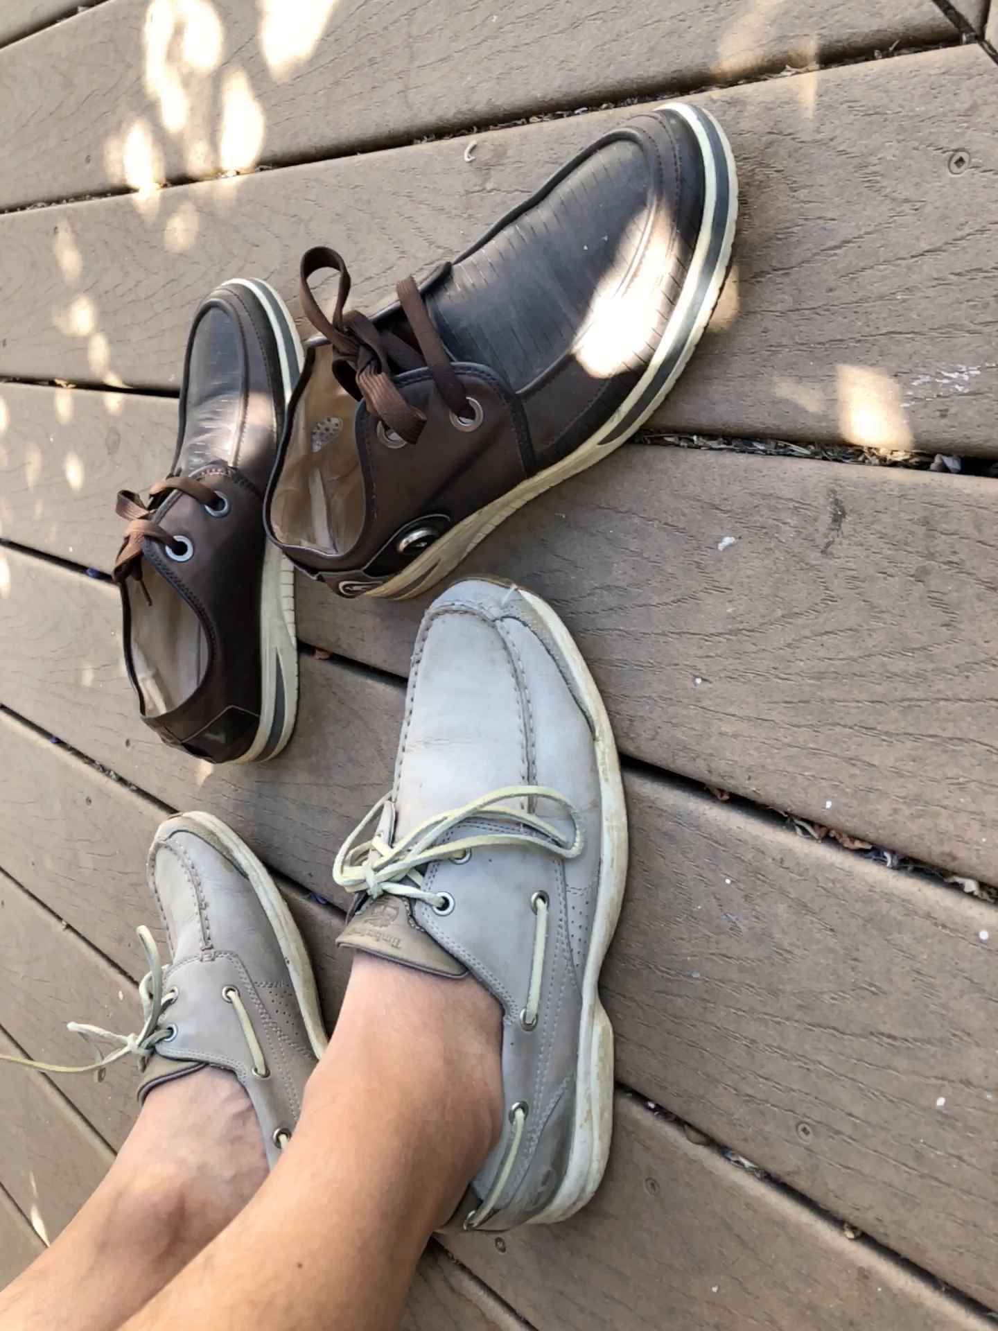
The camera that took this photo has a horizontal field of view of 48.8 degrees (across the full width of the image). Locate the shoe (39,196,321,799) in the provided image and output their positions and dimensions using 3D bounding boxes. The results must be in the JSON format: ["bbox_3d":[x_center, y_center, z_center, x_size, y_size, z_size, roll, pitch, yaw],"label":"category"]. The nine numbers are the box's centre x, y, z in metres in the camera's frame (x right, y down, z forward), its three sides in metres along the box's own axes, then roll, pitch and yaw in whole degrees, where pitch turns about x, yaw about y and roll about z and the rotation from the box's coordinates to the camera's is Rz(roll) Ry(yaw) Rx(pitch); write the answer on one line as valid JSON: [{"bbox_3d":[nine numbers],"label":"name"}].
[{"bbox_3d":[-0.185,-0.087,0.634,0.111,0.111,0.303,5,95,44],"label":"shoe"}]

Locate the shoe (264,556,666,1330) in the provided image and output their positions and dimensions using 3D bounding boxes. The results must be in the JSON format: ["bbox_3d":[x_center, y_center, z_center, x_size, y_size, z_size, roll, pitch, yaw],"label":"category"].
[{"bbox_3d":[-0.016,0.114,0.478,0.111,0.111,0.303,-6,87,44],"label":"shoe"}]

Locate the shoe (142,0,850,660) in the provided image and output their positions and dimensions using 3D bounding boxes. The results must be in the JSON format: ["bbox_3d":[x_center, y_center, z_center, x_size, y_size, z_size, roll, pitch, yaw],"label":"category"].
[{"bbox_3d":[-0.025,-0.125,0.473,0.304,0.111,0.110,-38,65,38],"label":"shoe"}]

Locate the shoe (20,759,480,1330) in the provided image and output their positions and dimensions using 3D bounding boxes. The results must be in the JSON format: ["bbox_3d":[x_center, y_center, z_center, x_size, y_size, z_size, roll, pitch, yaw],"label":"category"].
[{"bbox_3d":[-0.152,0.208,0.616,0.110,0.111,0.304,-54,56,31],"label":"shoe"}]
